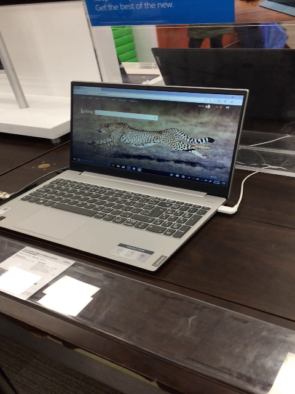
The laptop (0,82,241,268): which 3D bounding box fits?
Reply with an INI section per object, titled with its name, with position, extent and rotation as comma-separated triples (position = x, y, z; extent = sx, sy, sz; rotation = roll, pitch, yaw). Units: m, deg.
[laptop]
position = -0.074, -0.070, 0.705
extent = 0.363, 0.194, 0.315
rotation = 14, 38, 27
